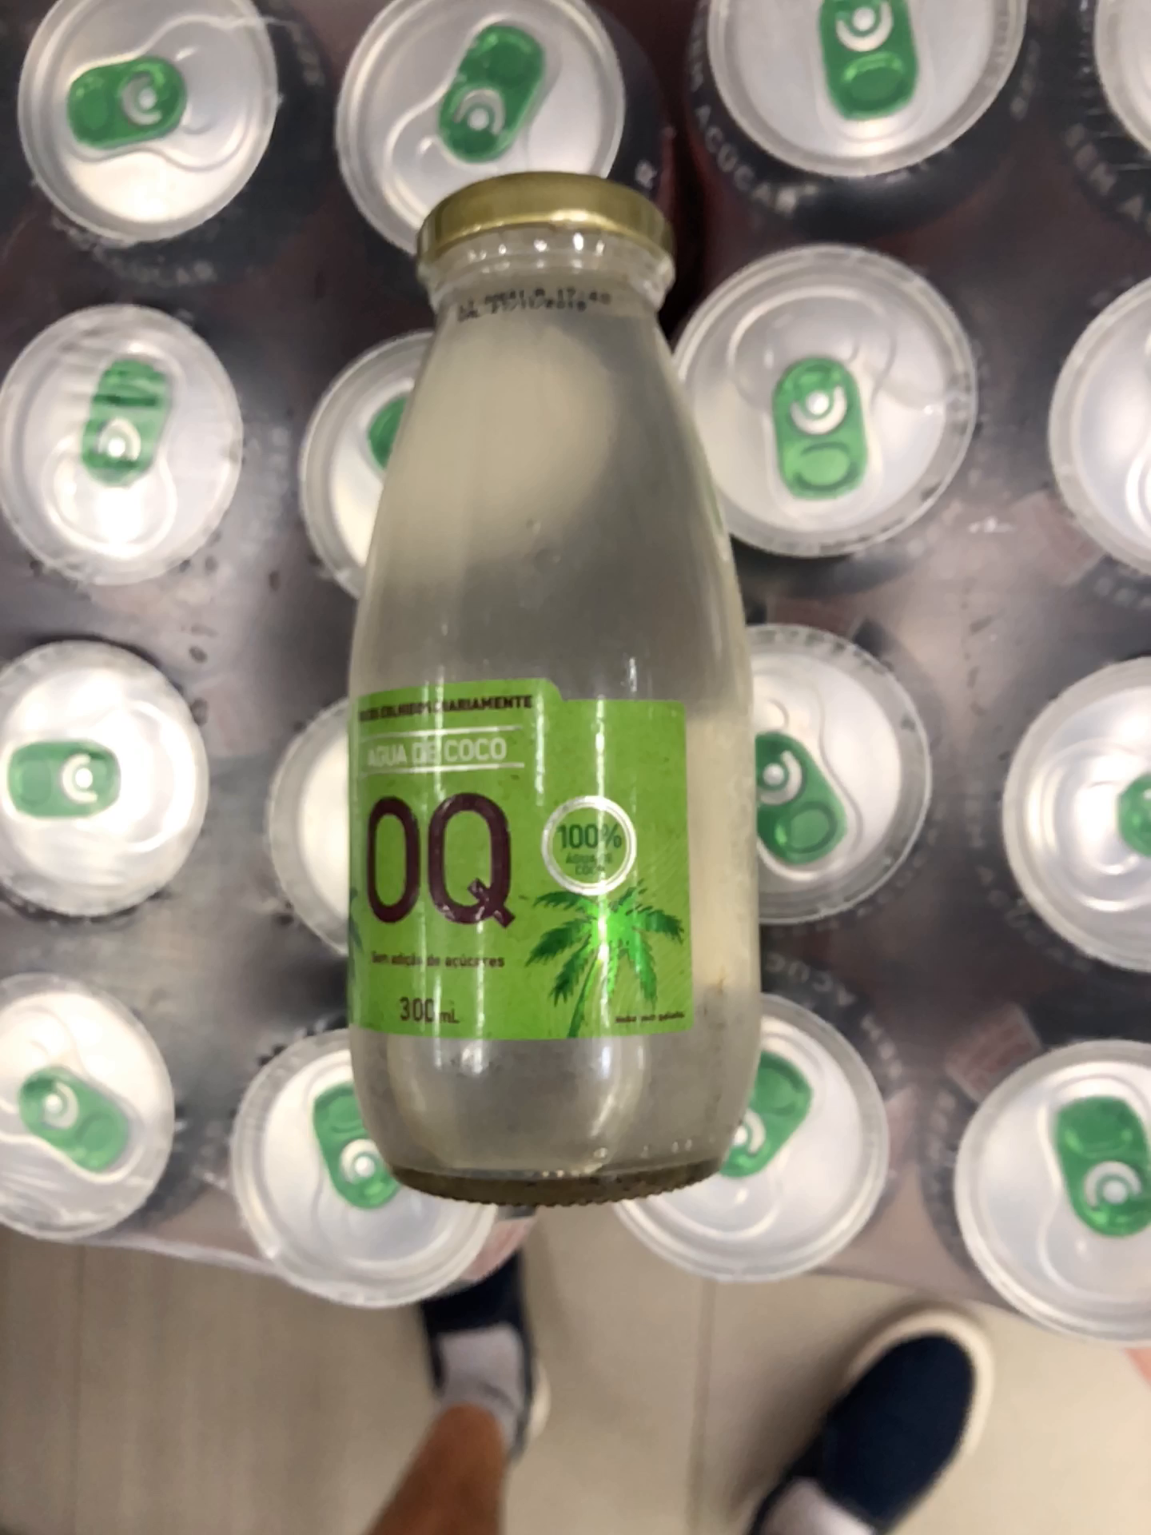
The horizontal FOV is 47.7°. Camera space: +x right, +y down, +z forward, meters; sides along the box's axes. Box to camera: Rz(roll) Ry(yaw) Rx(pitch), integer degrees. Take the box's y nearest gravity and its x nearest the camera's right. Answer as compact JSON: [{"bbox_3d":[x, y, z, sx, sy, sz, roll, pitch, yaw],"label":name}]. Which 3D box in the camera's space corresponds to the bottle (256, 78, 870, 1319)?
[{"bbox_3d":[0.001,-0.009,0.201,0.070,0.060,0.150,1,89,29],"label":"bottle"}]
